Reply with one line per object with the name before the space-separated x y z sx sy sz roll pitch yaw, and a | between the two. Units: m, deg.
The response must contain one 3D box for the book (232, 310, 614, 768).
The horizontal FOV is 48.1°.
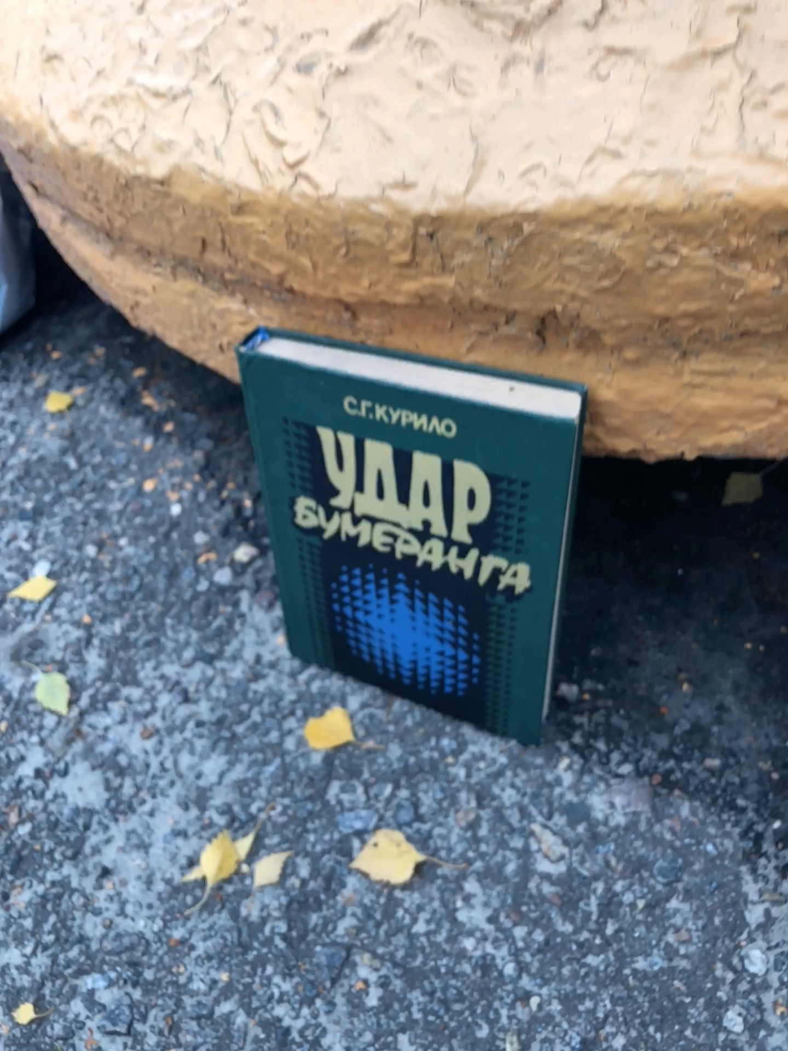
book | 0.016 0.011 0.354 0.131 0.178 0.029 18 49 27
